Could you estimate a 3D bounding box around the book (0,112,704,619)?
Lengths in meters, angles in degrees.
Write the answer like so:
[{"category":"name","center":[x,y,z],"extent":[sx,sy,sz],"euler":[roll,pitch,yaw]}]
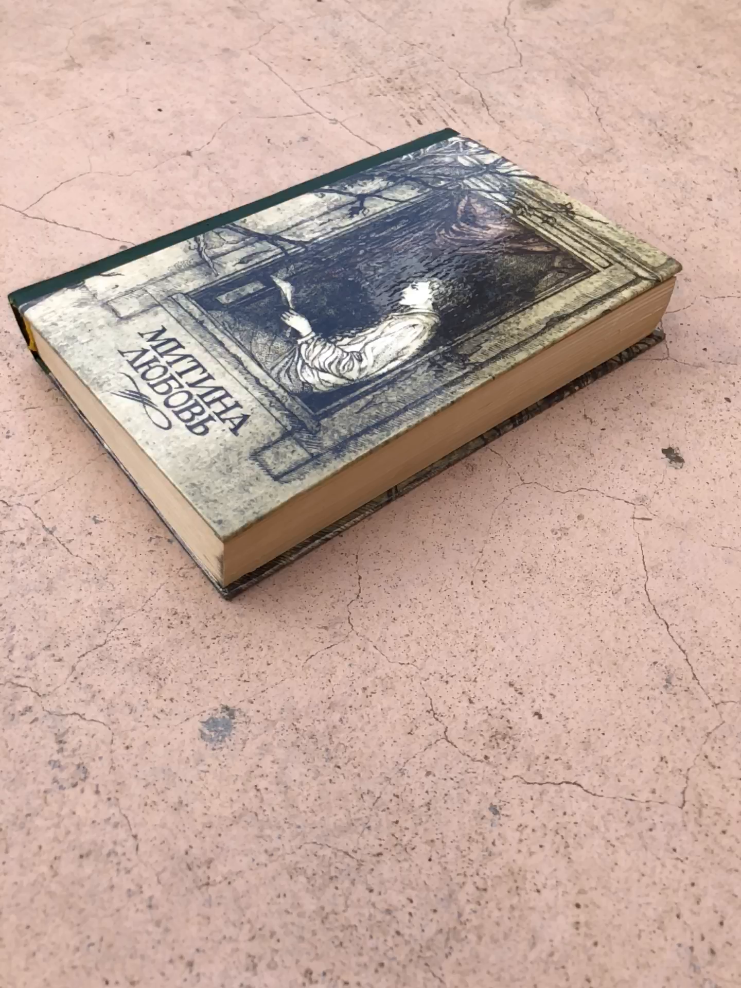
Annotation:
[{"category":"book","center":[-0.002,-0.067,0.301],"extent":[0.213,0.035,0.135],"euler":[-31,60,-26]}]
